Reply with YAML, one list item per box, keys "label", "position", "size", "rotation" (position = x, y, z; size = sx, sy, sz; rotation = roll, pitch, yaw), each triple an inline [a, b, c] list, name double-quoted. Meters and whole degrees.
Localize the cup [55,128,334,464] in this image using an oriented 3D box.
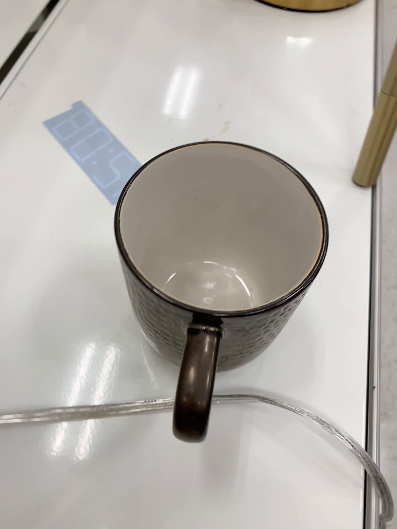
- label: "cup"
  position: [0.005, 0.019, 0.211]
  size: [0.095, 0.093, 0.131]
  rotation: [9, 61, 1]
